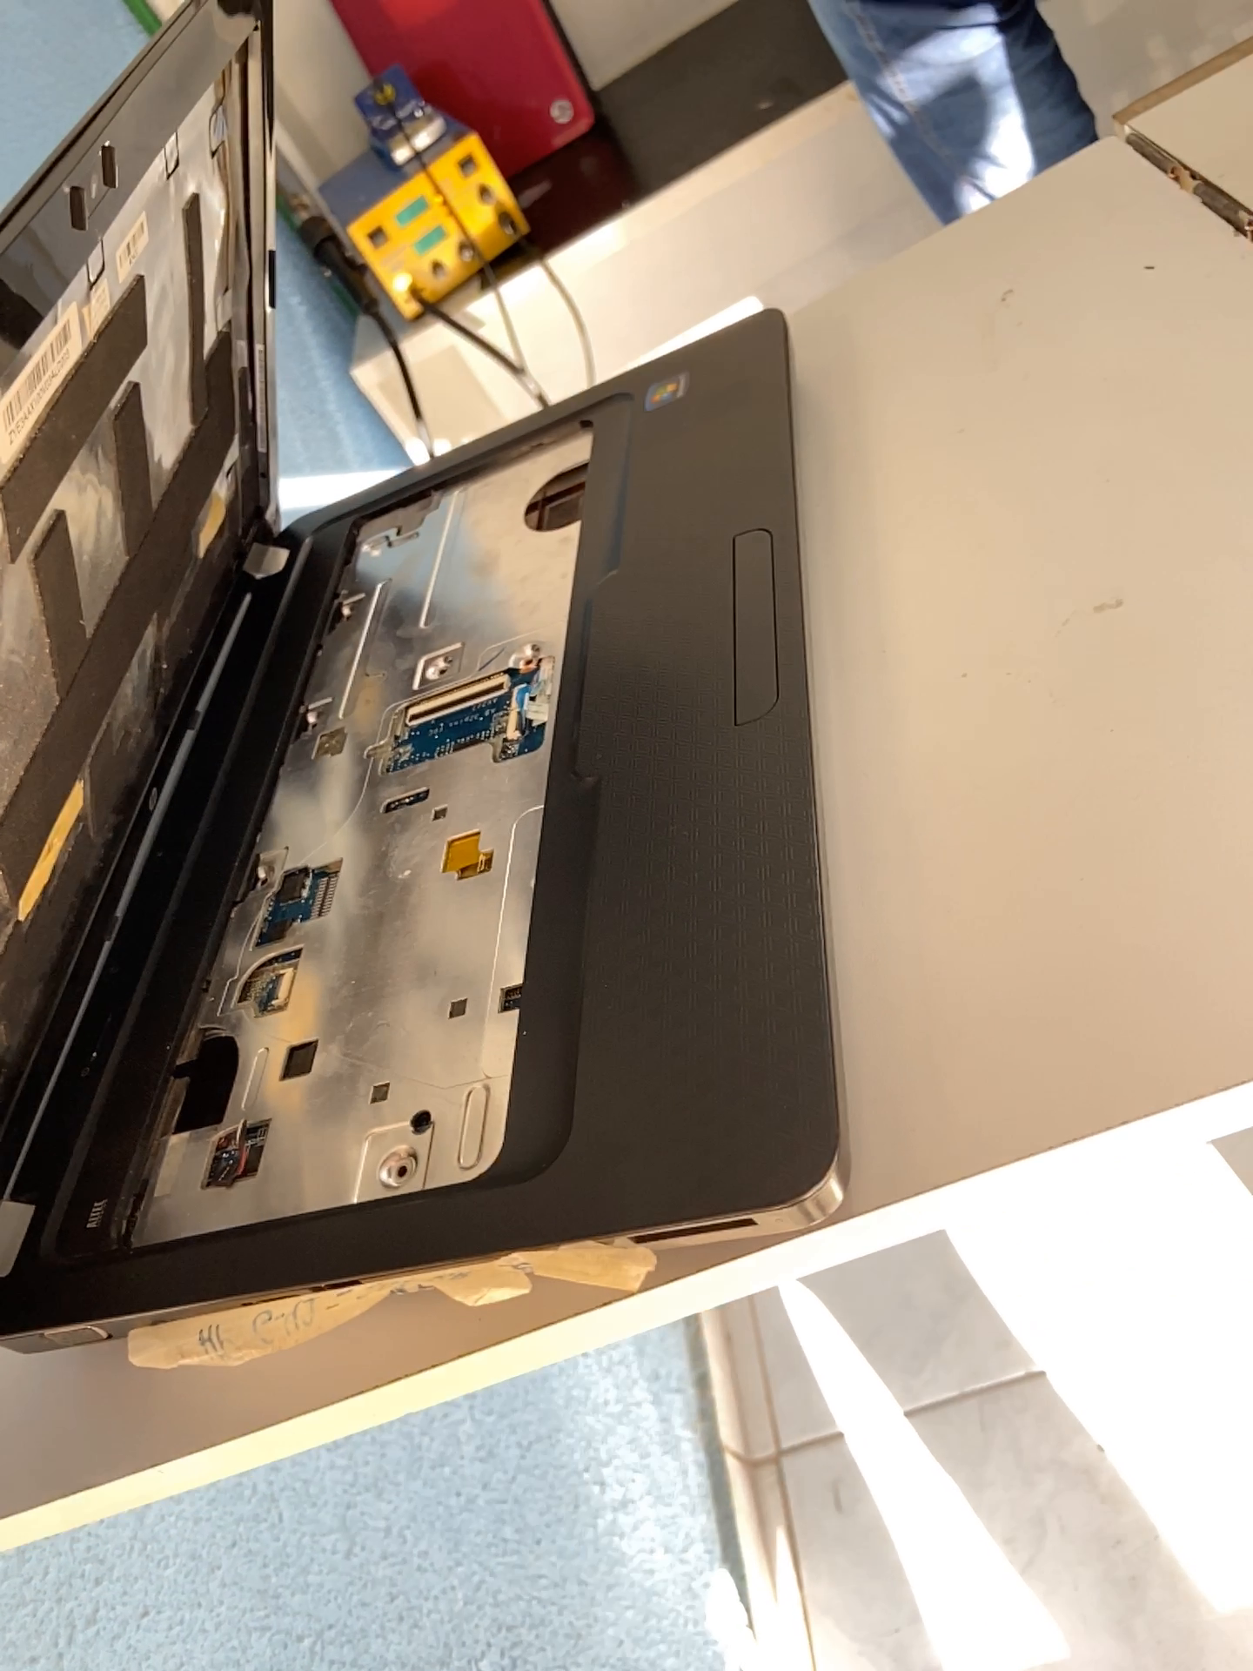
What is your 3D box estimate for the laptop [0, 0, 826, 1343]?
[{"bbox_3d":[-0.094,-0.077,0.329,0.222,0.153,0.328,-18,43,22],"label":"laptop"}]
